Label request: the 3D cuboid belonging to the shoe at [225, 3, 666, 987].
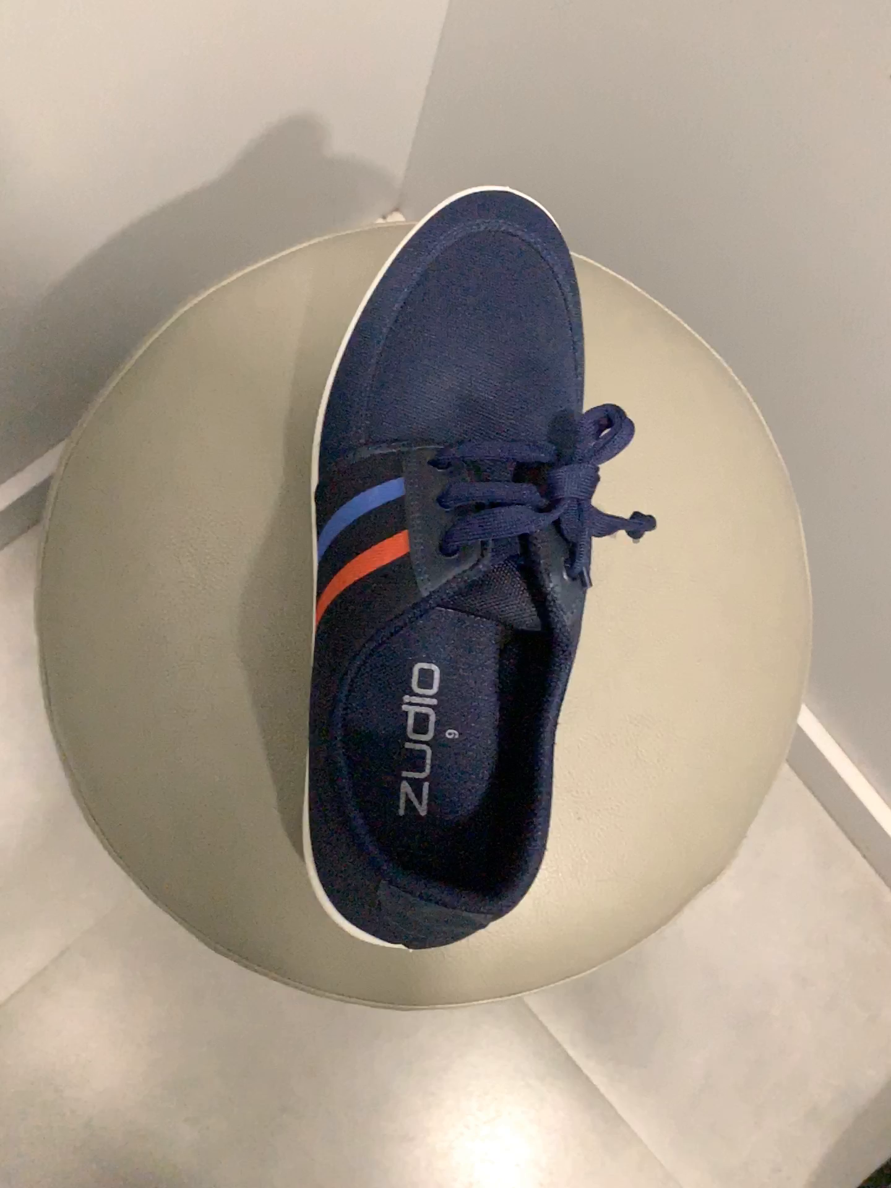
[{"bbox_3d":[-0.002,-0.030,0.325,0.100,0.100,0.290,9,81,-10],"label":"shoe"}]
